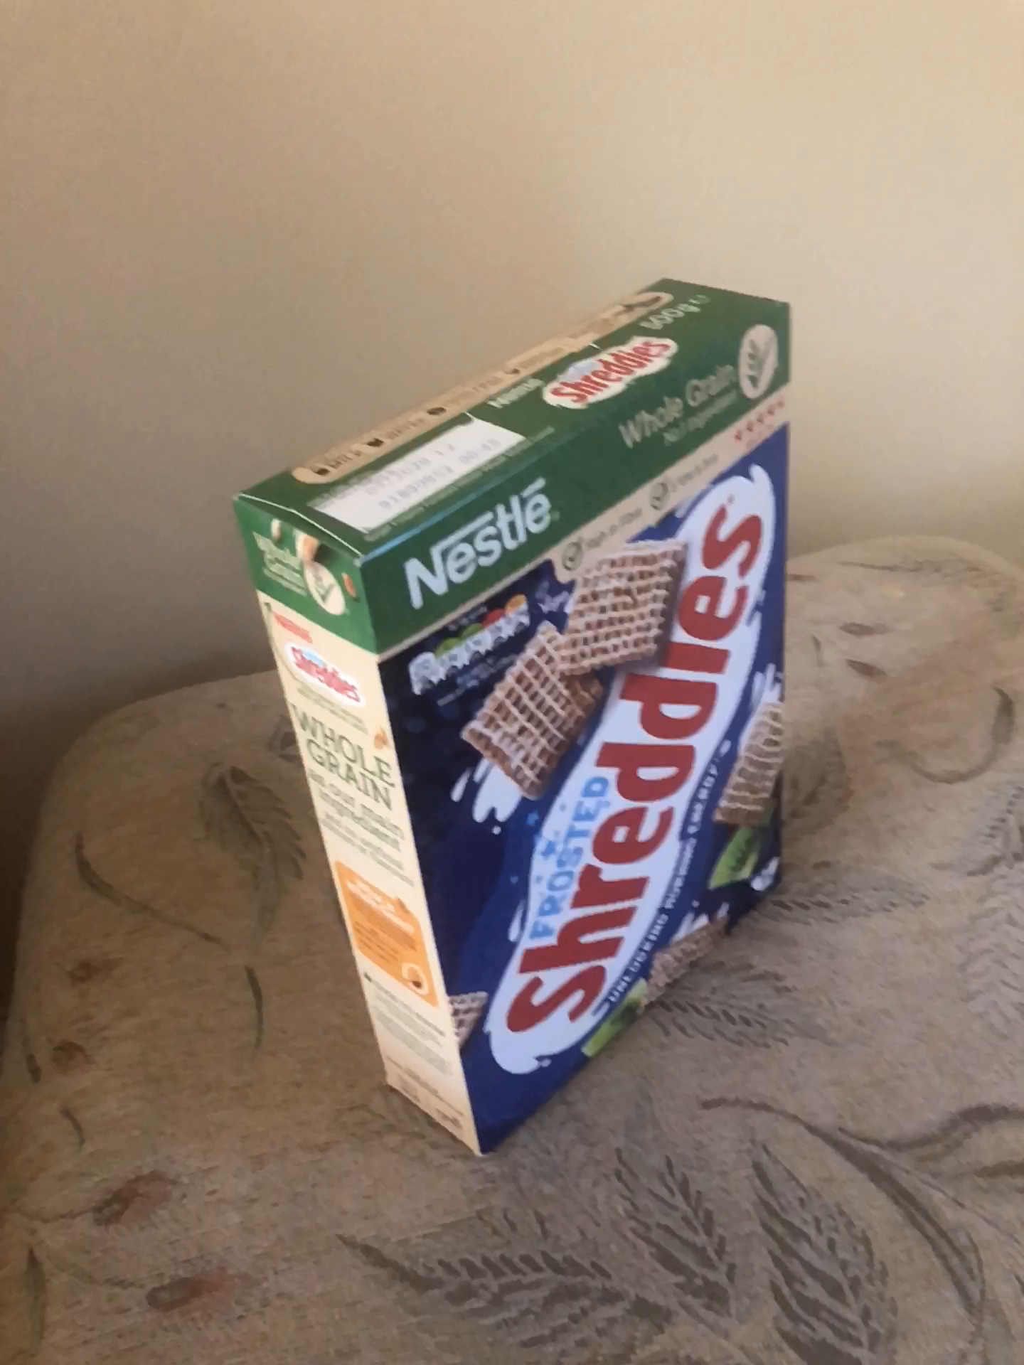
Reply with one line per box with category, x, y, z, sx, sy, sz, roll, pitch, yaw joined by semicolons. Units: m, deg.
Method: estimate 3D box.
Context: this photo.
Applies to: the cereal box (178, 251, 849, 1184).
cereal box;0.023;0.017;0.393;0.201;0.258;0.060;-34;45;-30
